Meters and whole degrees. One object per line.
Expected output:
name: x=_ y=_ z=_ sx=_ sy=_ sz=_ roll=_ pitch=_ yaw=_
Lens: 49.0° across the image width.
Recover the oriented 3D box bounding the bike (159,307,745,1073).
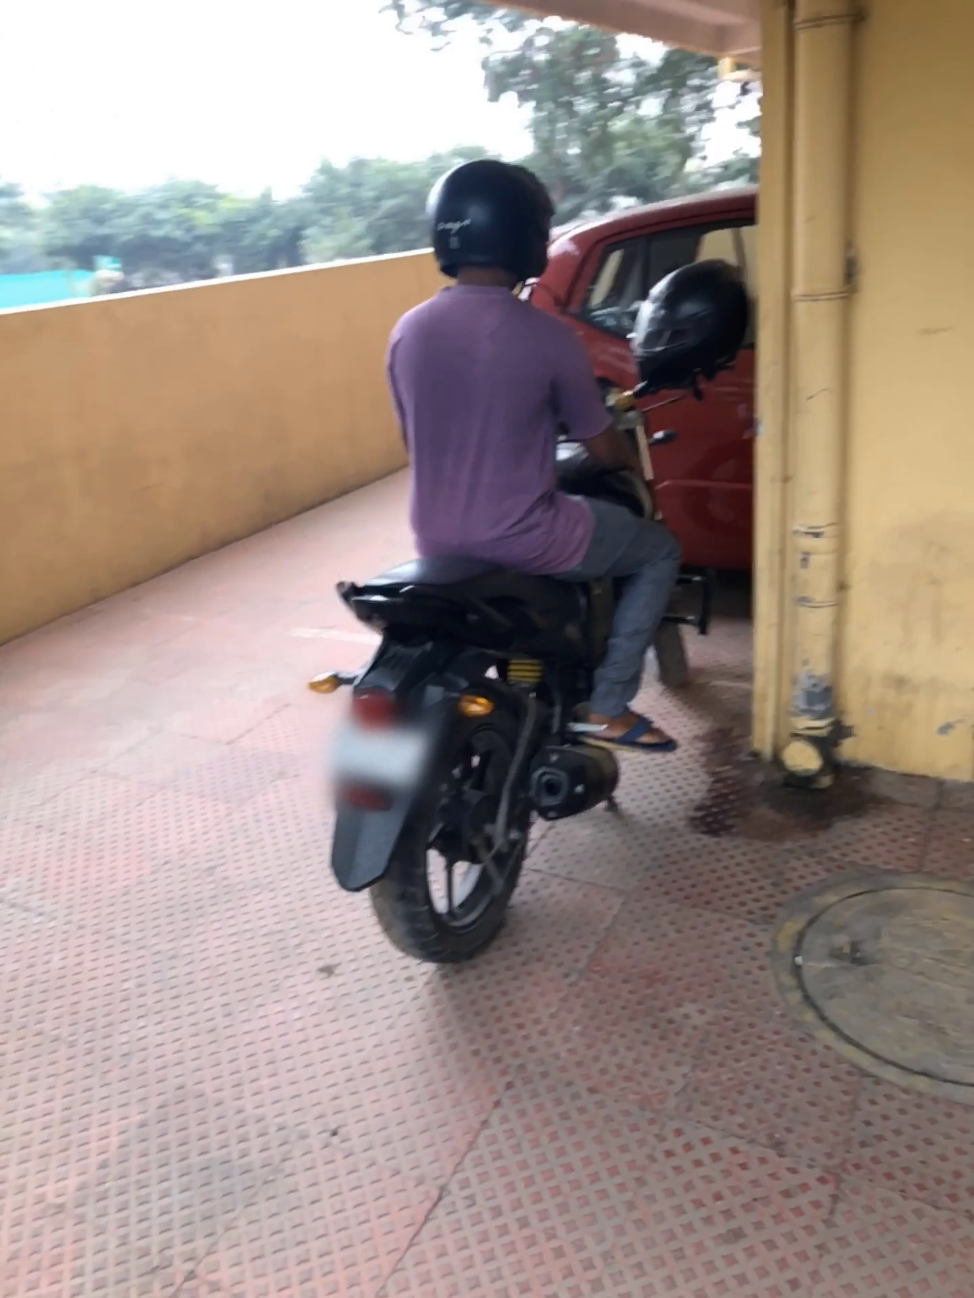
bike: x=0.145 y=-0.147 z=2.809 sx=0.853 sy=1.155 sz=1.915 roll=3 pitch=25 yaw=19
